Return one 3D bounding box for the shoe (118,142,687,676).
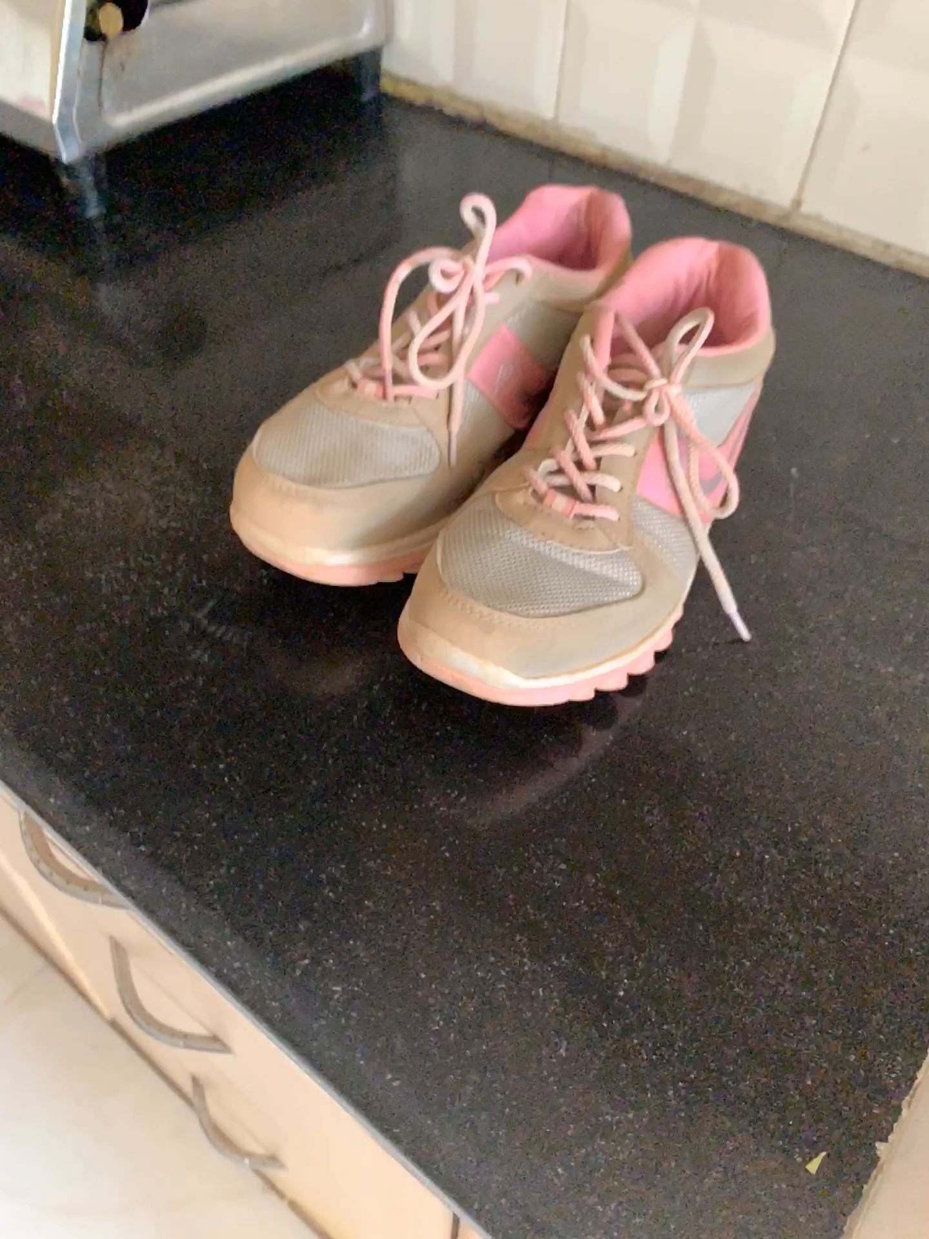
[{"bbox_3d":[-0.012,-0.105,0.422,0.100,0.099,0.241,29,53,22],"label":"shoe"}]

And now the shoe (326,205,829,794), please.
[{"bbox_3d":[0.053,-0.062,0.387,0.090,0.099,0.231,25,52,19],"label":"shoe"}]
